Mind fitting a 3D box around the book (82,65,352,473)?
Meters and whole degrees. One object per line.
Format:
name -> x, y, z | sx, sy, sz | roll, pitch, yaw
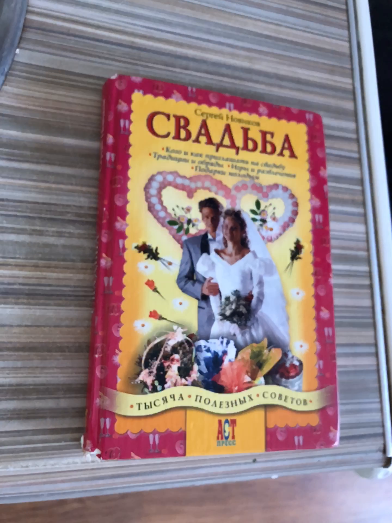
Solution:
book -> 0.016, 0.000, 0.265 | 0.150, 0.020, 0.220 | 4, 77, -18
